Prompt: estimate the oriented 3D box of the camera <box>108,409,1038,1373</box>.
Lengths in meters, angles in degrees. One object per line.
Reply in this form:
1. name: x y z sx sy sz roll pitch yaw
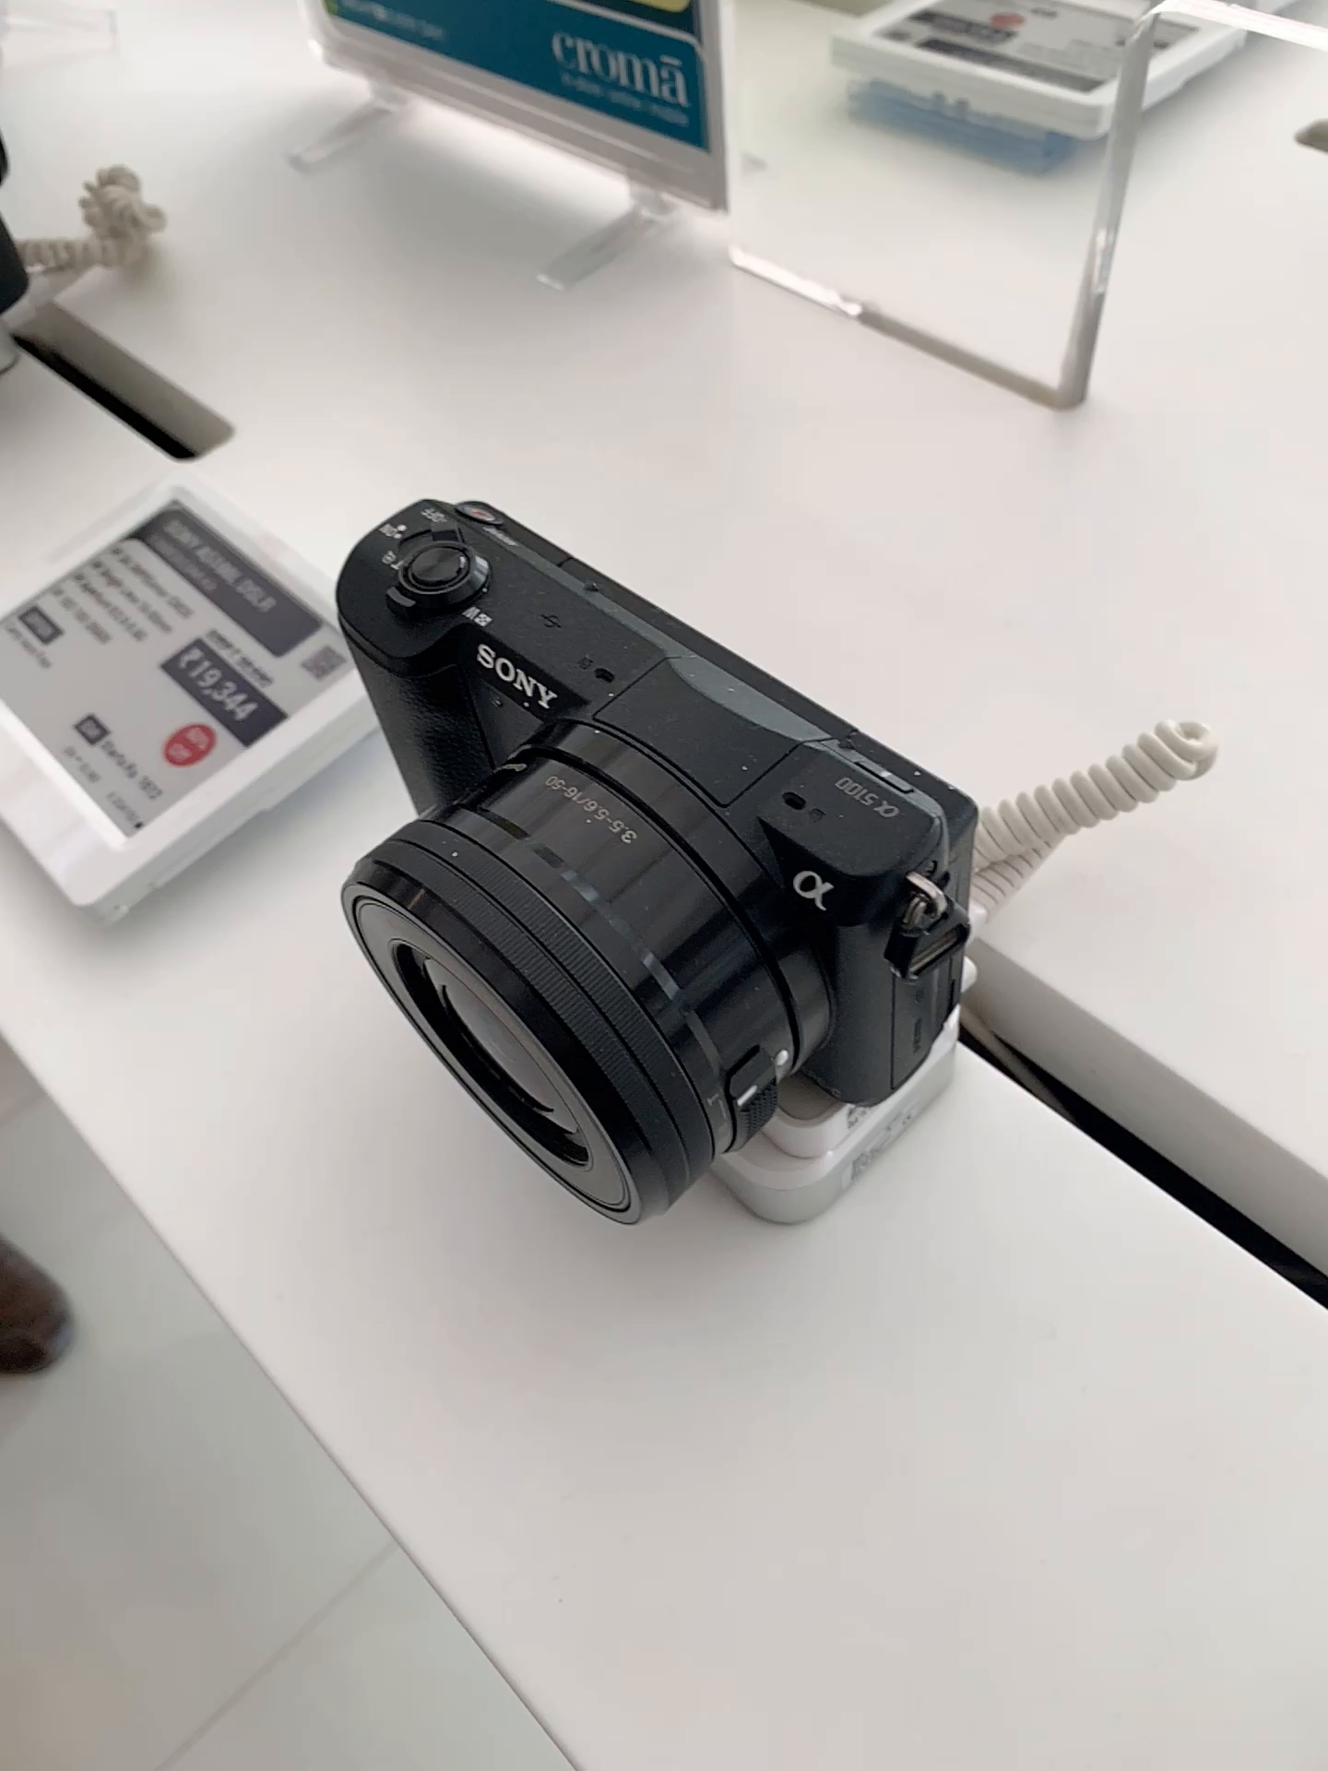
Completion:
1. camera: -0.013 -0.002 0.205 0.060 0.080 0.110 -39 58 -21
